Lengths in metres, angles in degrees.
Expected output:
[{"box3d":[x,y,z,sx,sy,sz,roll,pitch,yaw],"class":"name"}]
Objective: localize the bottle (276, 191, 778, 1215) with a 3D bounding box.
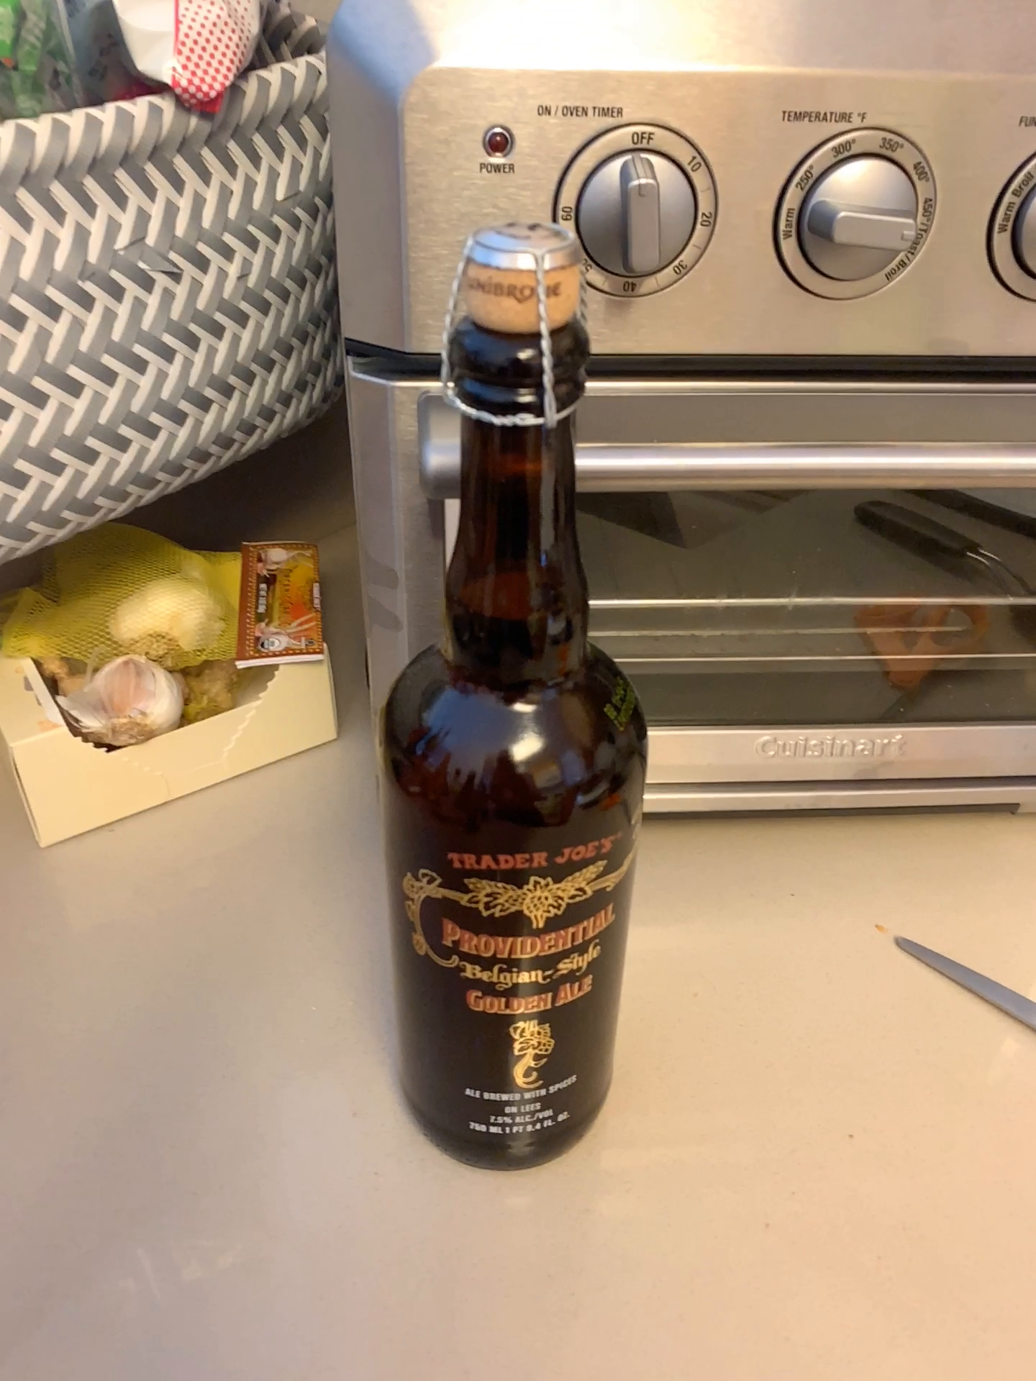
[{"box3d":[-0.006,0.027,0.307,0.090,0.298,0.081,-5,36,-8],"class":"bottle"}]
